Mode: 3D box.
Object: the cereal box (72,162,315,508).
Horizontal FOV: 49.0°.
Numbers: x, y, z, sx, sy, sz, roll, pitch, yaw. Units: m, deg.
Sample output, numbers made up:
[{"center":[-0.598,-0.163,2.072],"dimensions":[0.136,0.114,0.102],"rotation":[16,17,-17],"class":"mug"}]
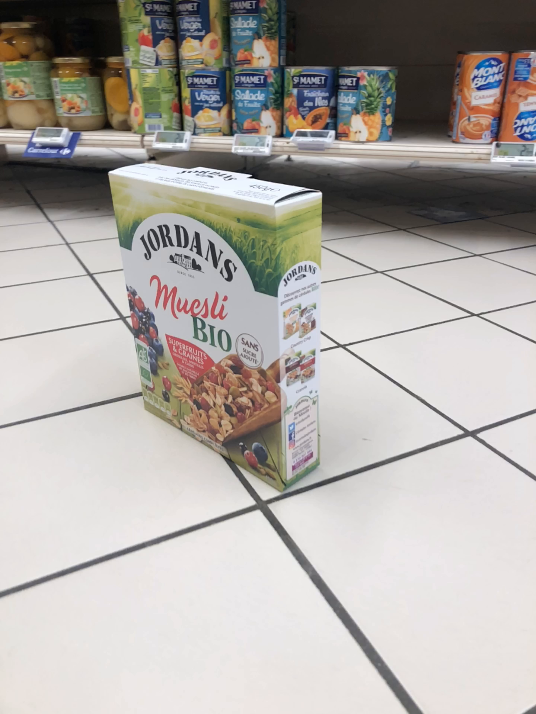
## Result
[{"center":[-0.056,-0.026,0.459],"dimensions":[0.190,0.219,0.060],"rotation":[22,37,39],"class":"cereal box"}]
